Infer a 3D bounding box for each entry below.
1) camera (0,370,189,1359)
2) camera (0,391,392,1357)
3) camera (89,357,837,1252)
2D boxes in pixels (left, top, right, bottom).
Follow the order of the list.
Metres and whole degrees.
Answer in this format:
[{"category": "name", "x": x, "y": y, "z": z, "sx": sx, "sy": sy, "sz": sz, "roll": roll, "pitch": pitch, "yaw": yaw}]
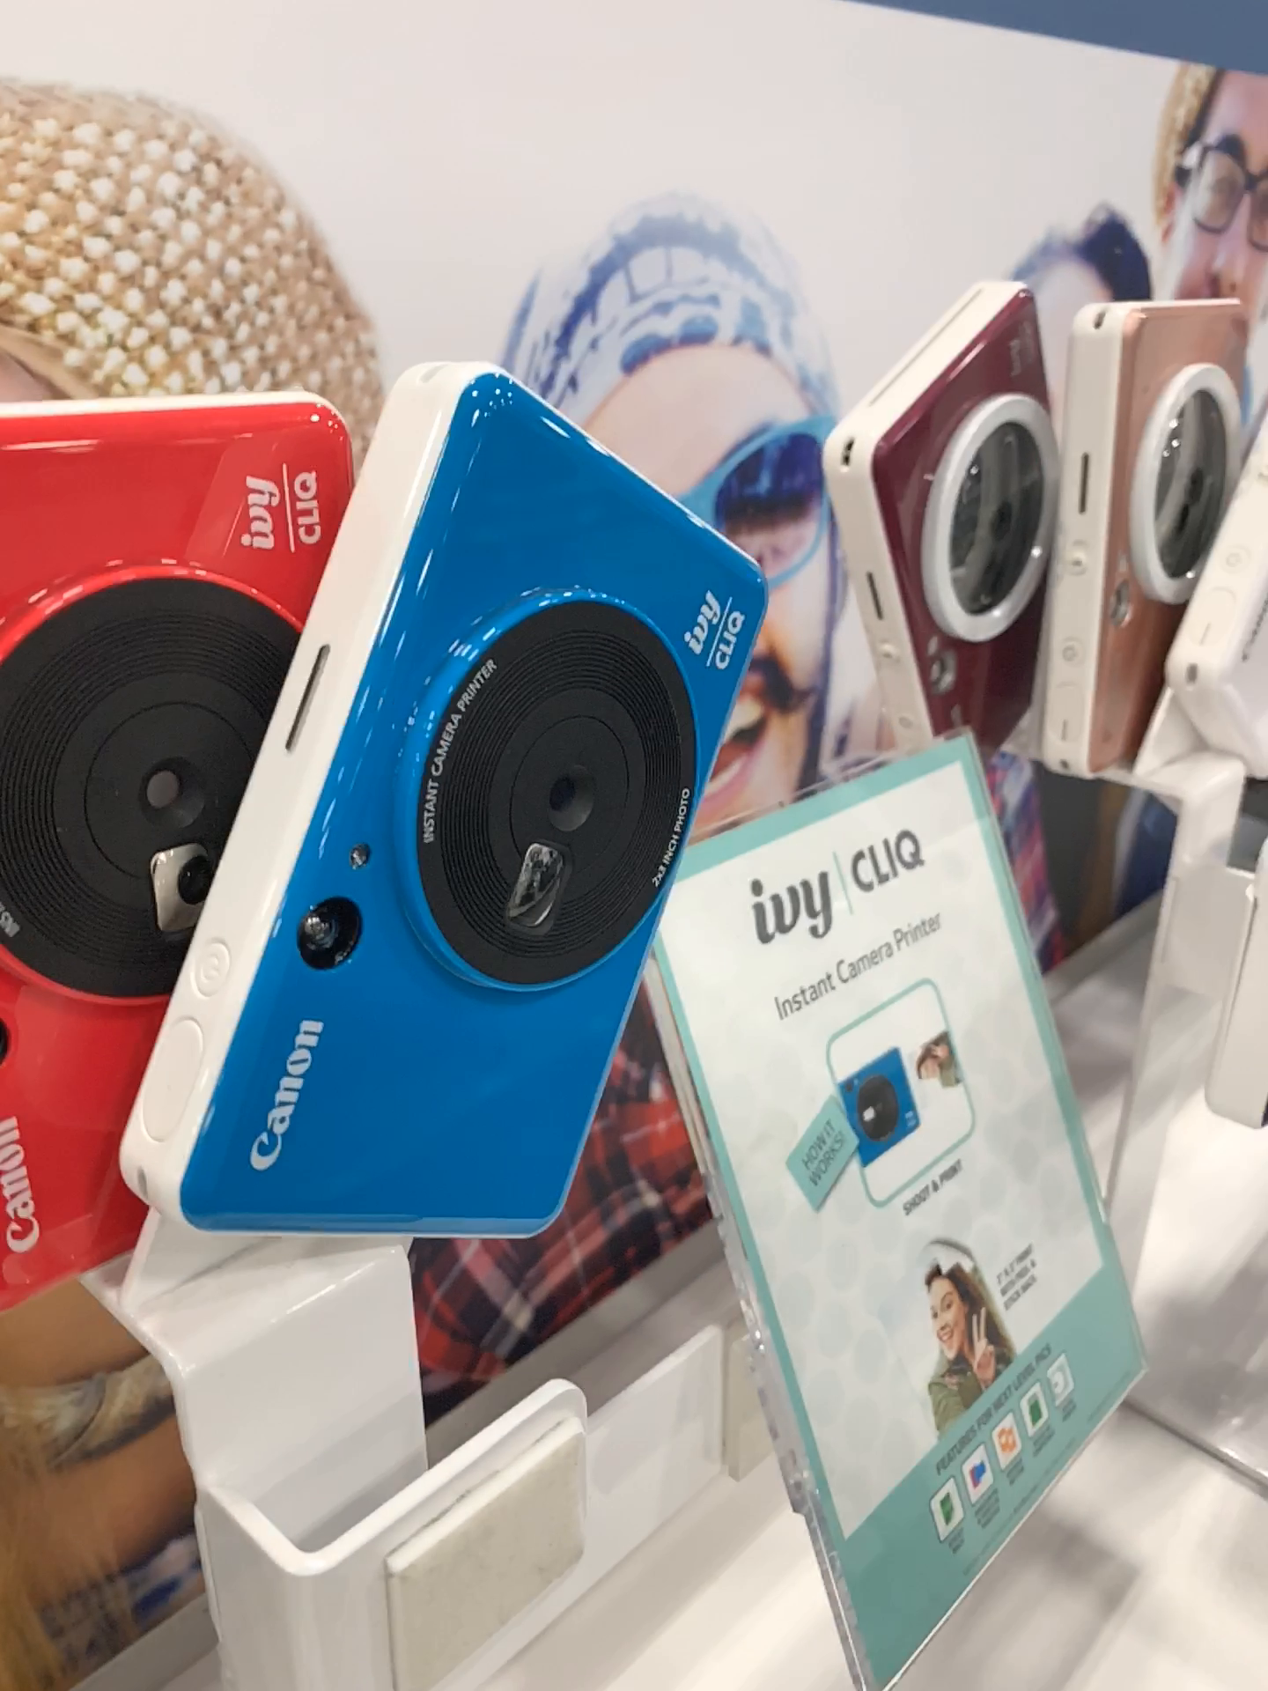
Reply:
[{"category": "camera", "x": -0.126, "y": 0.010, "z": 0.183, "sx": 0.030, "sy": 0.123, "sz": 0.068, "roll": 29, "pitch": 63, "yaw": 39}, {"category": "camera", "x": -0.073, "y": 0.001, "z": 0.191, "sx": 0.067, "sy": 0.123, "sz": 0.030, "roll": -18, "pitch": 30, "yaw": -39}, {"category": "camera", "x": -0.019, "y": 0.000, "z": 0.199, "sx": 0.030, "sy": 0.114, "sz": 0.077, "roll": 19, "pitch": -3, "yaw": 38}]
